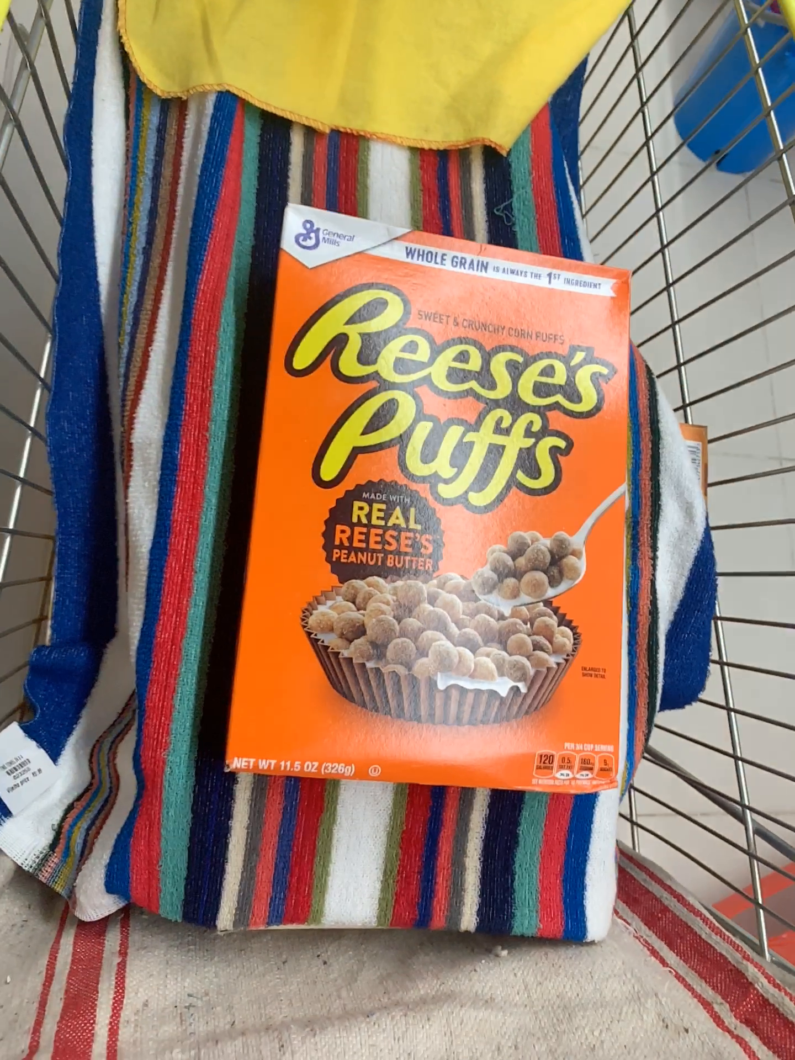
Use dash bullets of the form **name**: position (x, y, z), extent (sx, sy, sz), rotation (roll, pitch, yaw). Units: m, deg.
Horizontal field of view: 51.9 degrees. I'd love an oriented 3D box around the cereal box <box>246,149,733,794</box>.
- **cereal box**: position (0.045, -0.020, 0.393), extent (0.200, 0.080, 0.260), rotation (7, 81, -12)
